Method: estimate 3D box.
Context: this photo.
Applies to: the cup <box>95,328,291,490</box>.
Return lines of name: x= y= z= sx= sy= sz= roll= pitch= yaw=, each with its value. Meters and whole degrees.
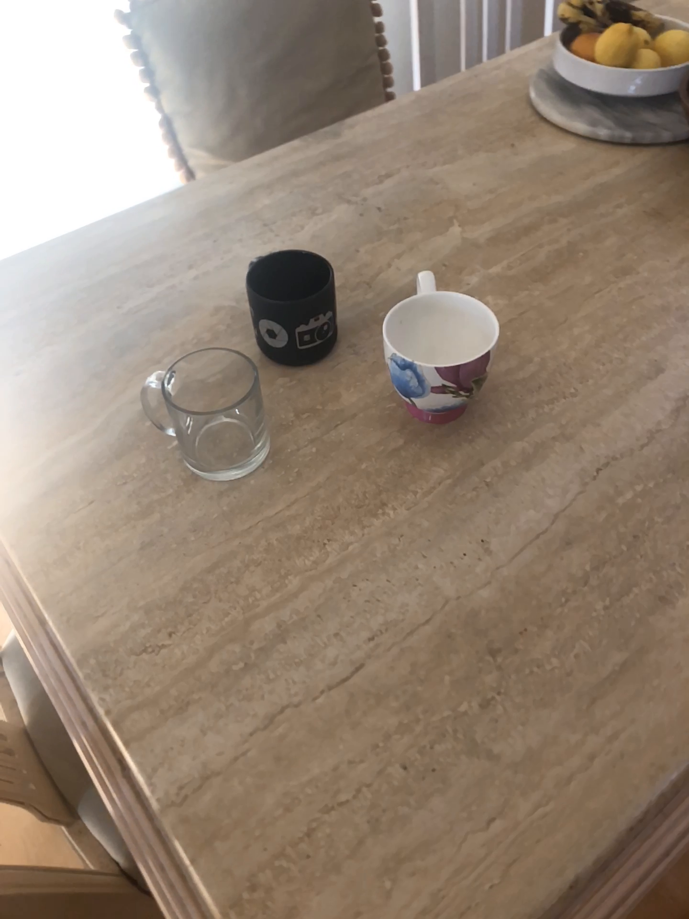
cup: x=-0.136 y=-0.048 z=0.711 sx=0.140 sy=0.089 sz=0.091 roll=12 pitch=51 yaw=14

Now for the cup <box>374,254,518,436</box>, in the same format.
cup: x=0.092 y=-0.114 z=0.745 sx=0.120 sy=0.089 sz=0.161 roll=-2 pitch=49 yaw=2

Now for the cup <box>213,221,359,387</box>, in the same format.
cup: x=-0.063 y=-0.171 z=0.822 sx=0.100 sy=0.089 sz=0.141 roll=-23 pitch=51 yaw=-15
